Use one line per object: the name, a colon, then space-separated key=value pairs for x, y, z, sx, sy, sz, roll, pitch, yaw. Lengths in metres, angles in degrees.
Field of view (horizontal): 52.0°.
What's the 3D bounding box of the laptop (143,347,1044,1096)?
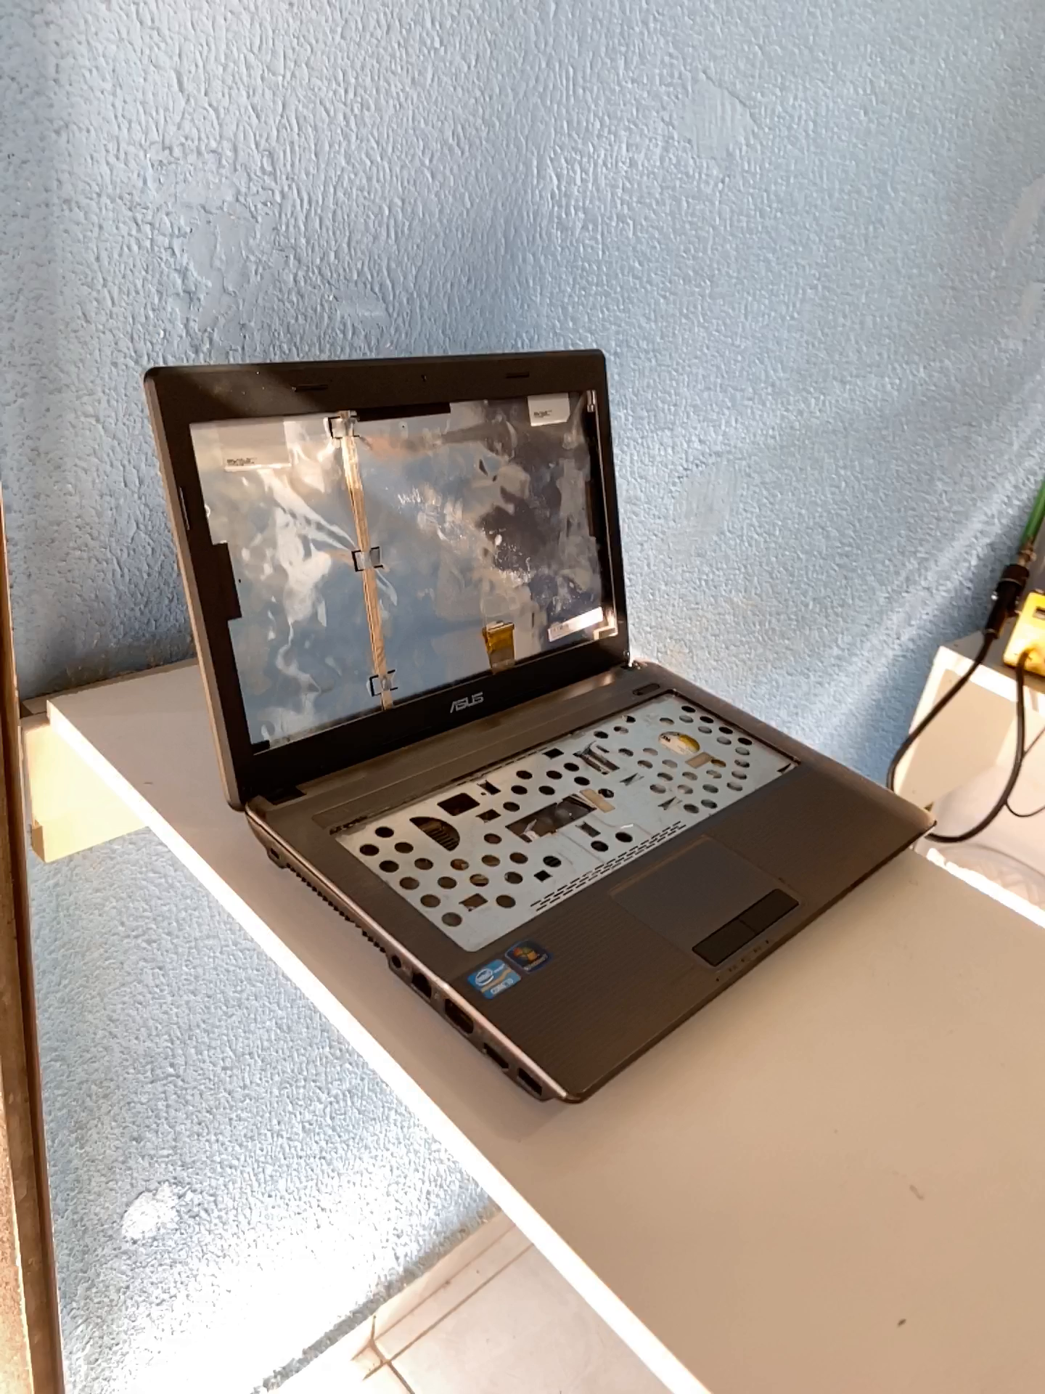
laptop: x=0.036 y=-0.043 z=0.583 sx=0.327 sy=0.202 sz=0.337 roll=31 pitch=34 yaw=34
